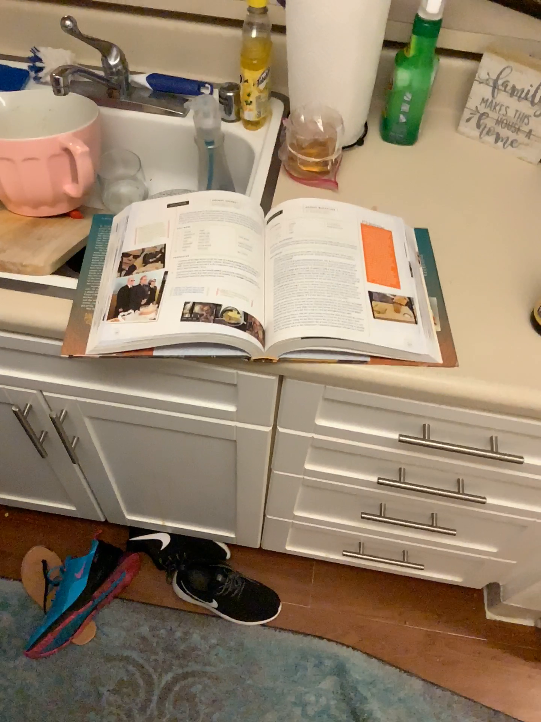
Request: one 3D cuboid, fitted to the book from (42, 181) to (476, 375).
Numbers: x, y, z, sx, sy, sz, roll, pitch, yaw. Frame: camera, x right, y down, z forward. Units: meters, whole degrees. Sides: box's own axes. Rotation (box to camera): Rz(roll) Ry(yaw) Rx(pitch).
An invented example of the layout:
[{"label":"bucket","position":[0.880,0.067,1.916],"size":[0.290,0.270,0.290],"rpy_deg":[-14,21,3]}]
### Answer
[{"label":"book","position":[-0.011,-0.126,0.838],"size":[0.530,0.040,0.310],"rpy_deg":[1,54,-3]}]
